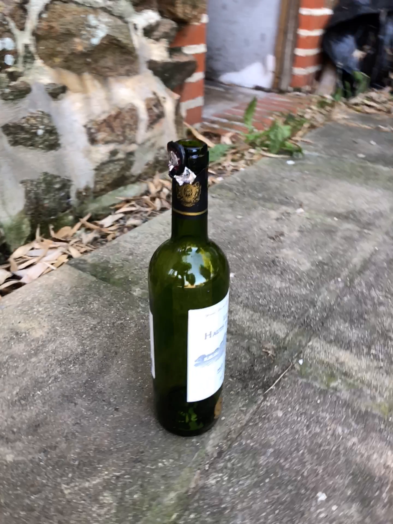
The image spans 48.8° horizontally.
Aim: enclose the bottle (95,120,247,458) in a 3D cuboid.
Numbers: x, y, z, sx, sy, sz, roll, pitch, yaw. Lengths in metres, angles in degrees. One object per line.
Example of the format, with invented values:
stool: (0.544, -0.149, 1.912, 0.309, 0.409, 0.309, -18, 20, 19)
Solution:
bottle: (-0.018, 0.035, 0.388, 0.080, 0.288, 0.091, 12, 33, 17)
